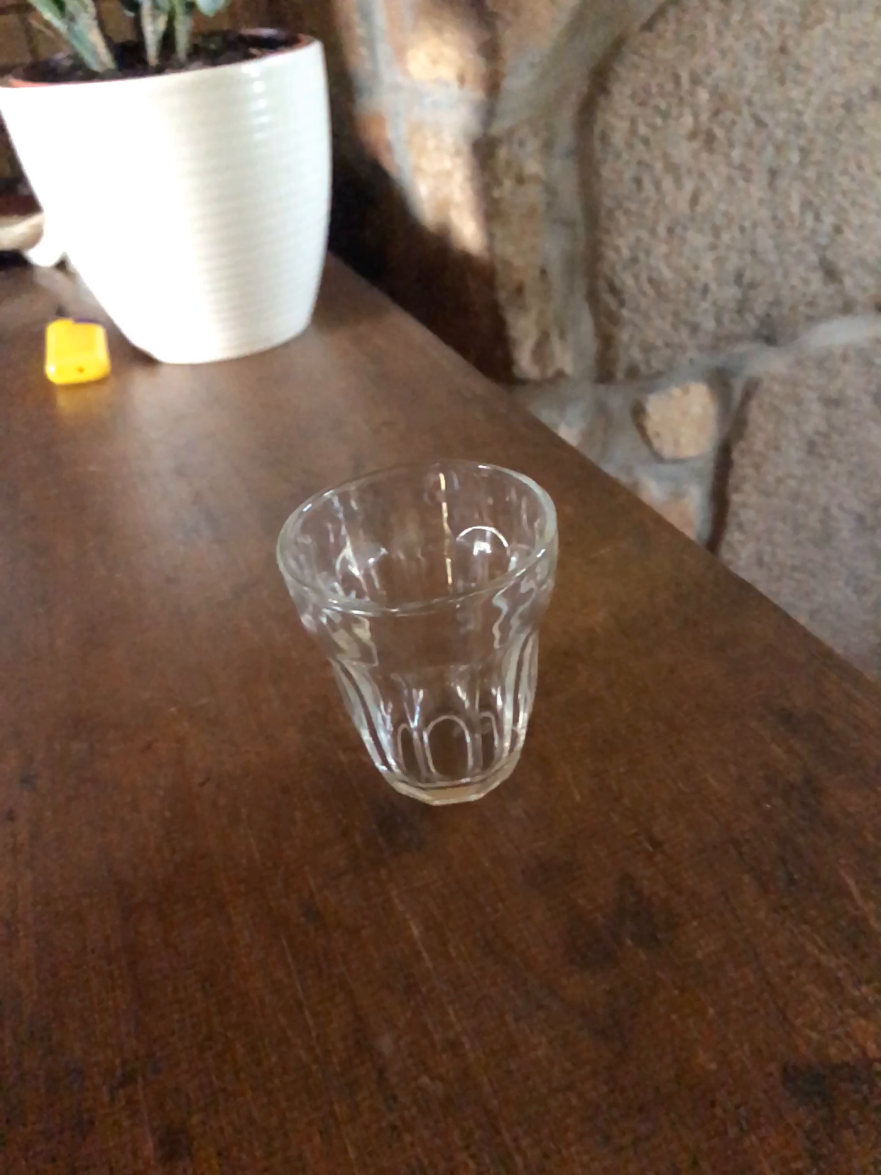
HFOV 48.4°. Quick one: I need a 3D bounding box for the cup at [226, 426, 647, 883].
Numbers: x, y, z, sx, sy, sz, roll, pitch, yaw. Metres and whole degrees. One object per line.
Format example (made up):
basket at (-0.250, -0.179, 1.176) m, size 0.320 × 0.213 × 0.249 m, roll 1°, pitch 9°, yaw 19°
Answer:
cup at (0.004, 0.013, 0.266) m, size 0.080 × 0.080 × 0.070 m, roll 16°, pitch 40°, yaw 32°
